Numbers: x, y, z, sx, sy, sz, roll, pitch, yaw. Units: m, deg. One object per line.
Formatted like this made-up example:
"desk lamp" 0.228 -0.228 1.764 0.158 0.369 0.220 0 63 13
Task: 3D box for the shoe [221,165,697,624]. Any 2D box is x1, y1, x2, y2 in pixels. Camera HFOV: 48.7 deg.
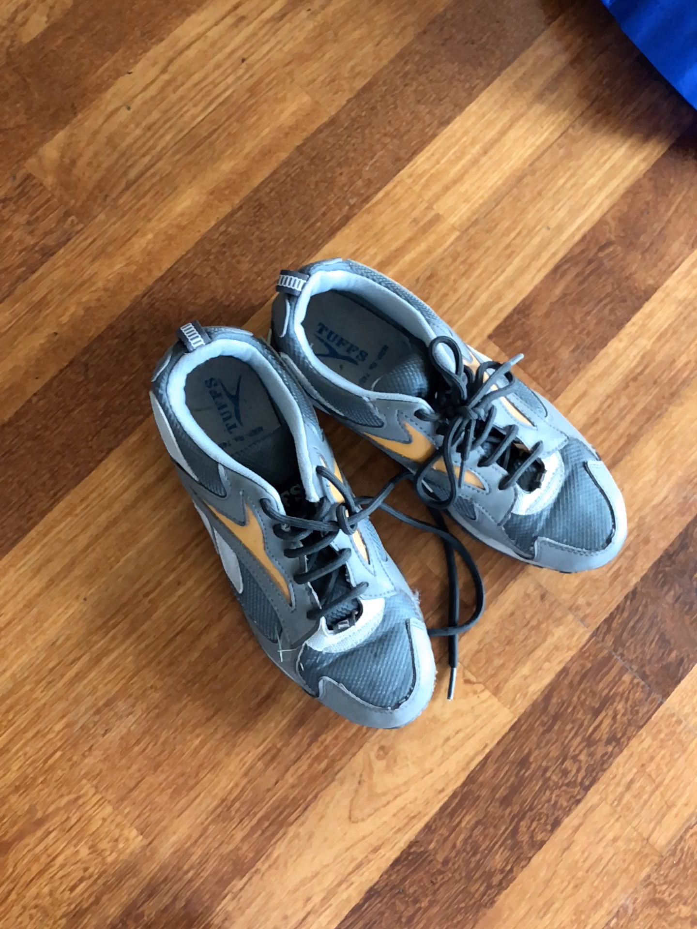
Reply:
"shoe" 0.069 -0.036 0.482 0.283 0.099 0.112 39 79 2

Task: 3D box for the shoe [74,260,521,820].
"shoe" -0.033 0.040 0.455 0.110 0.088 0.283 -31 85 -10
